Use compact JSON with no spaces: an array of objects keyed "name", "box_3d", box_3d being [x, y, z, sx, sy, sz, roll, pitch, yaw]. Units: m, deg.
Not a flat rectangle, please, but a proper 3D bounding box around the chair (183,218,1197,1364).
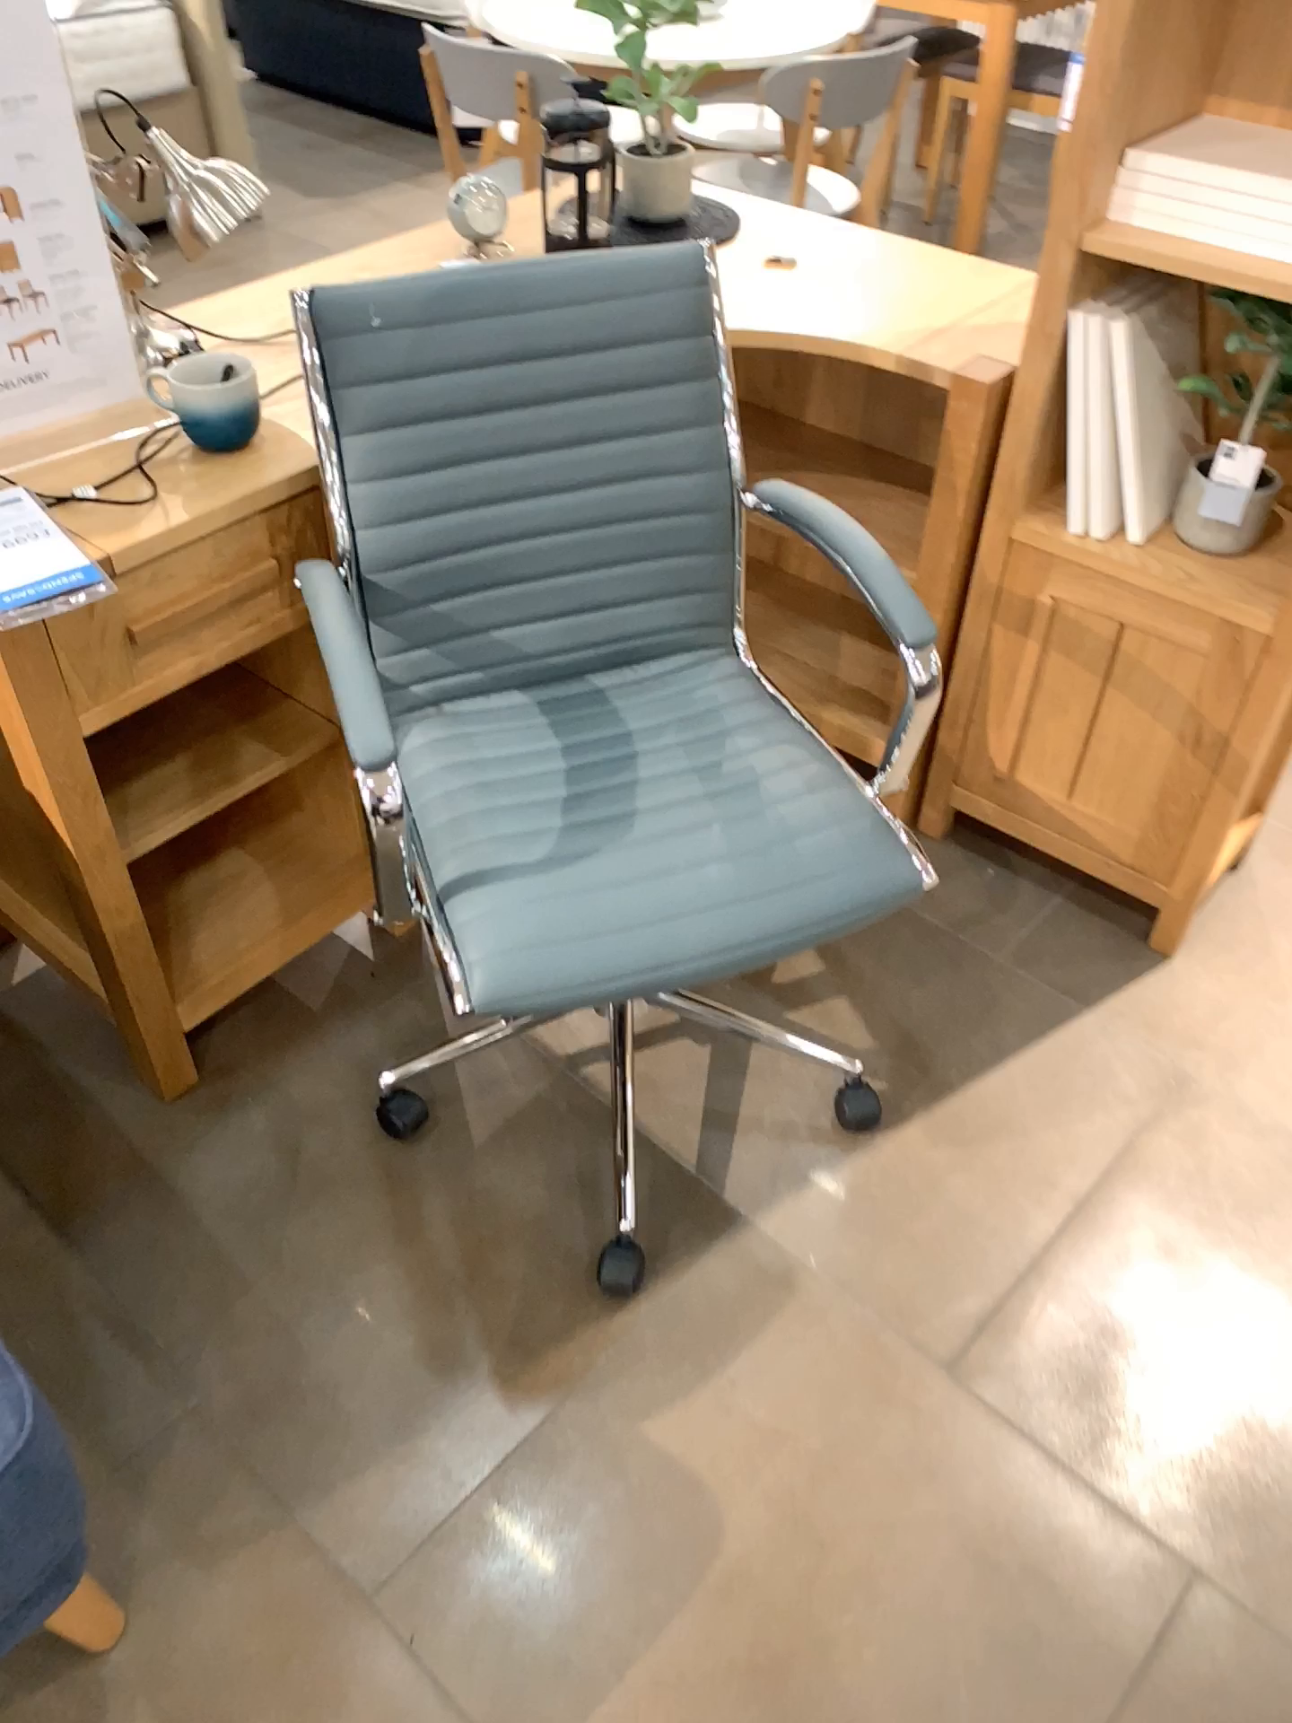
[{"name":"chair","box_3d":[-0.028,-0.095,1.441,0.665,0.883,0.713,-14,44,-16]}]
